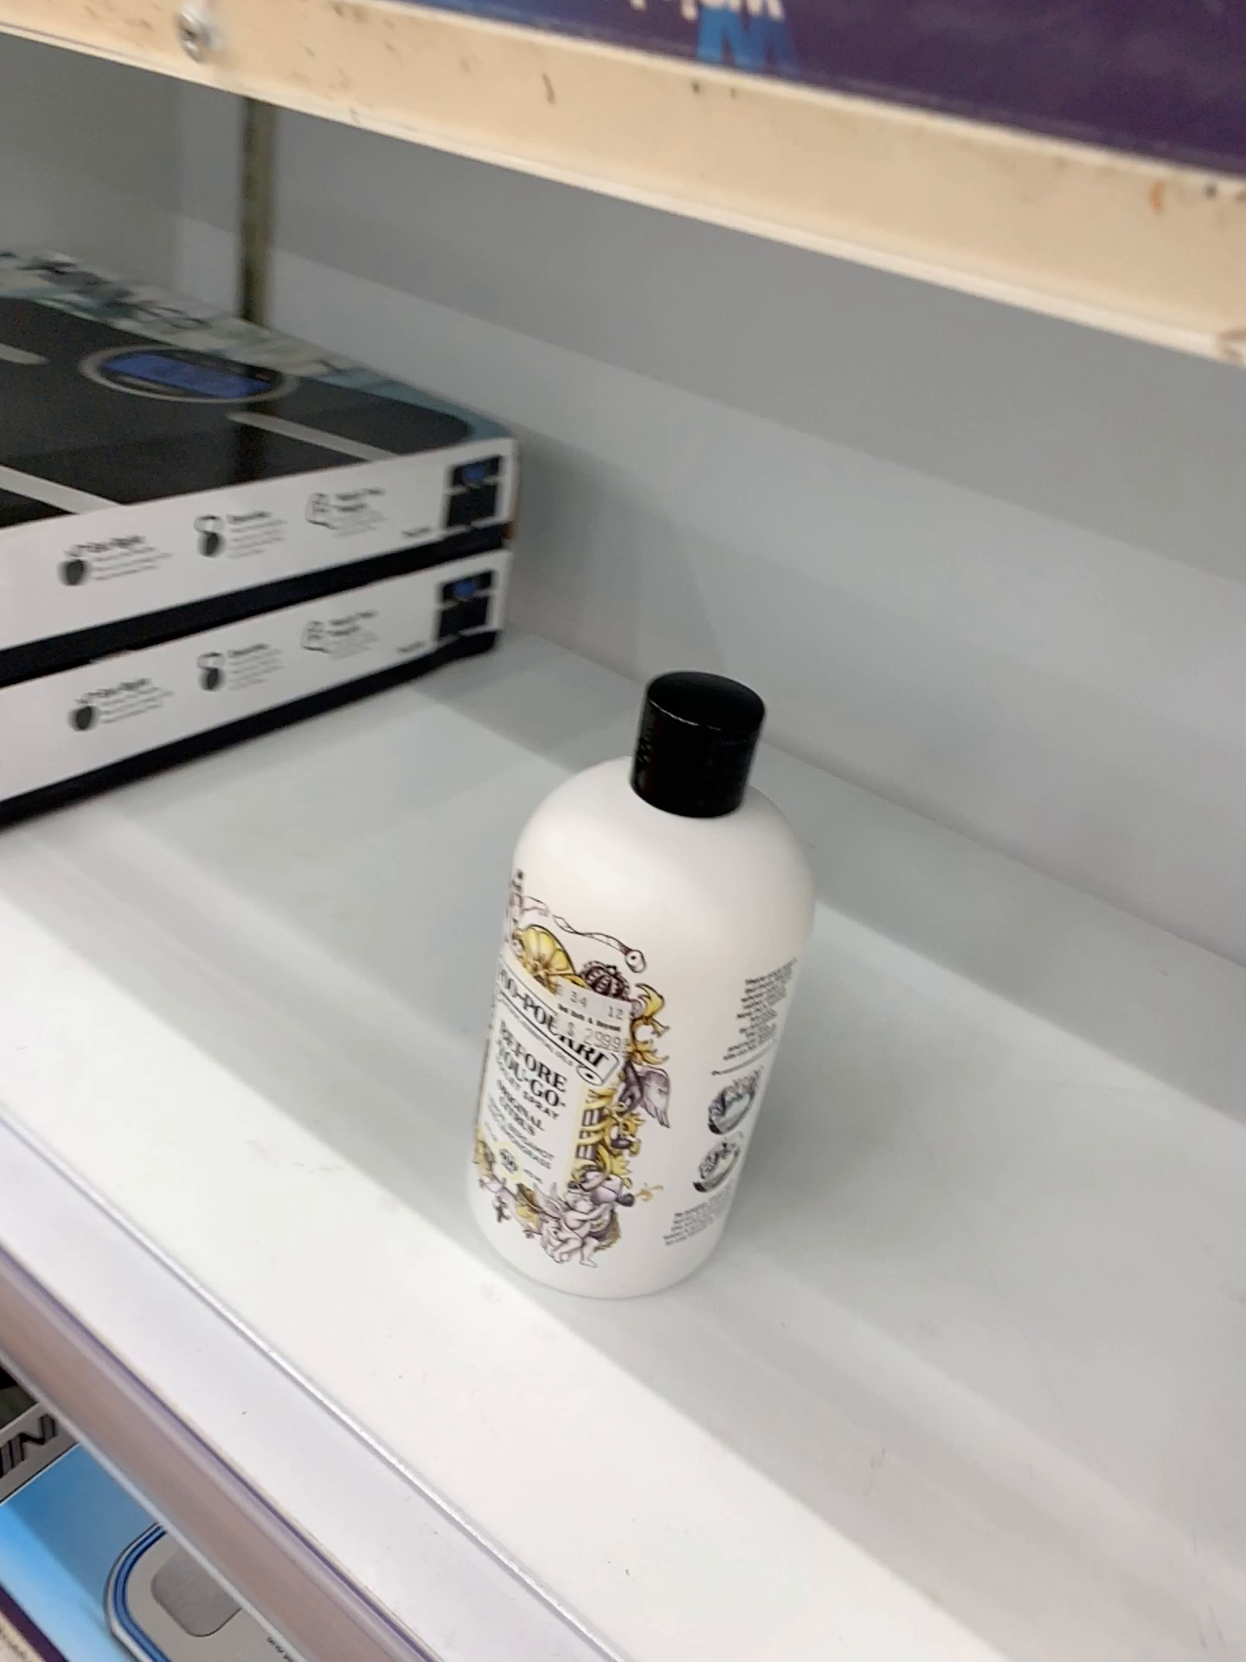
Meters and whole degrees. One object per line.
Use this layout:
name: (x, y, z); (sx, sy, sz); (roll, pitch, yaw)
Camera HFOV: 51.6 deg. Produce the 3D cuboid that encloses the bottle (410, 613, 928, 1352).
bottle: (0.005, 0.037, 0.320); (0.073, 0.153, 0.070); (9, 32, -5)
